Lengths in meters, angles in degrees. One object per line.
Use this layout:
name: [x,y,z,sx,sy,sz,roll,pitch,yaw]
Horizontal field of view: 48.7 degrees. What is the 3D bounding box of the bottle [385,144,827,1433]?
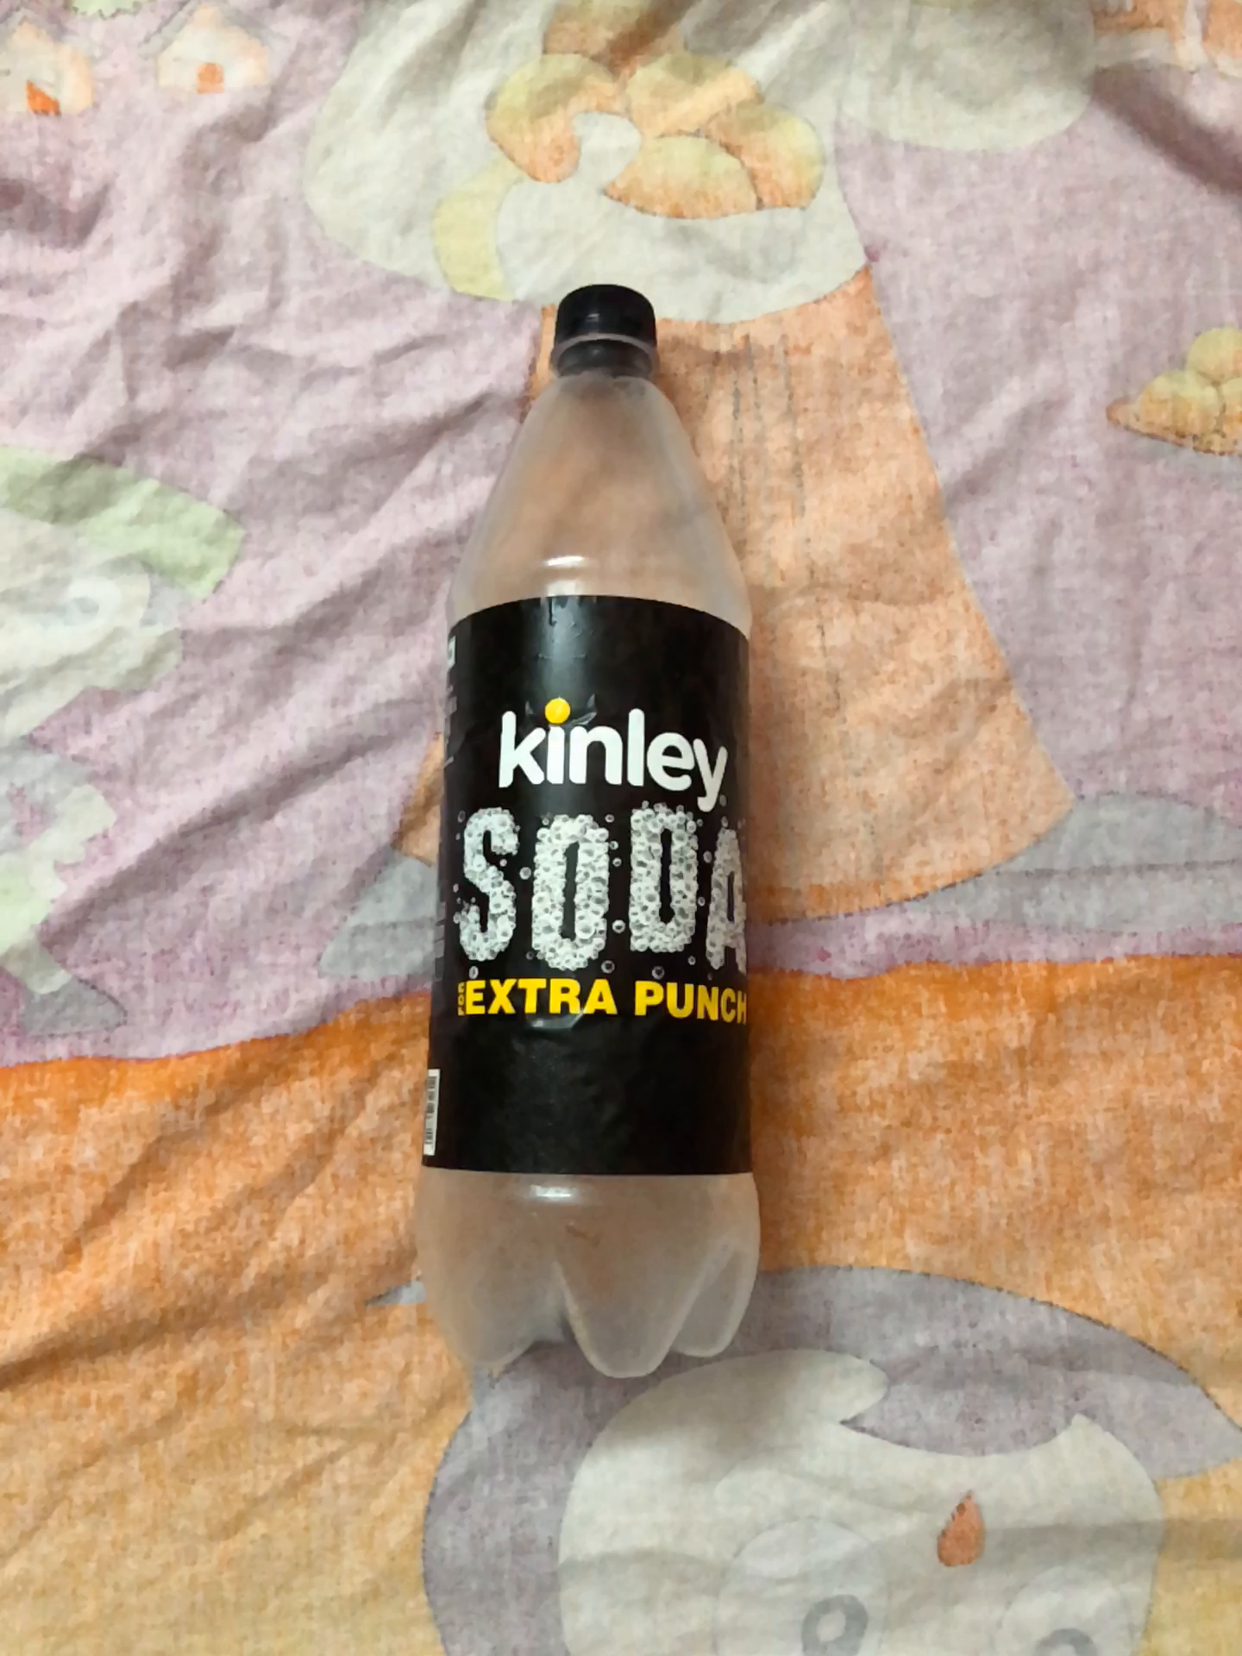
bottle: [-0.006,-0.010,0.343,0.090,0.080,0.280,3,84,-11]
